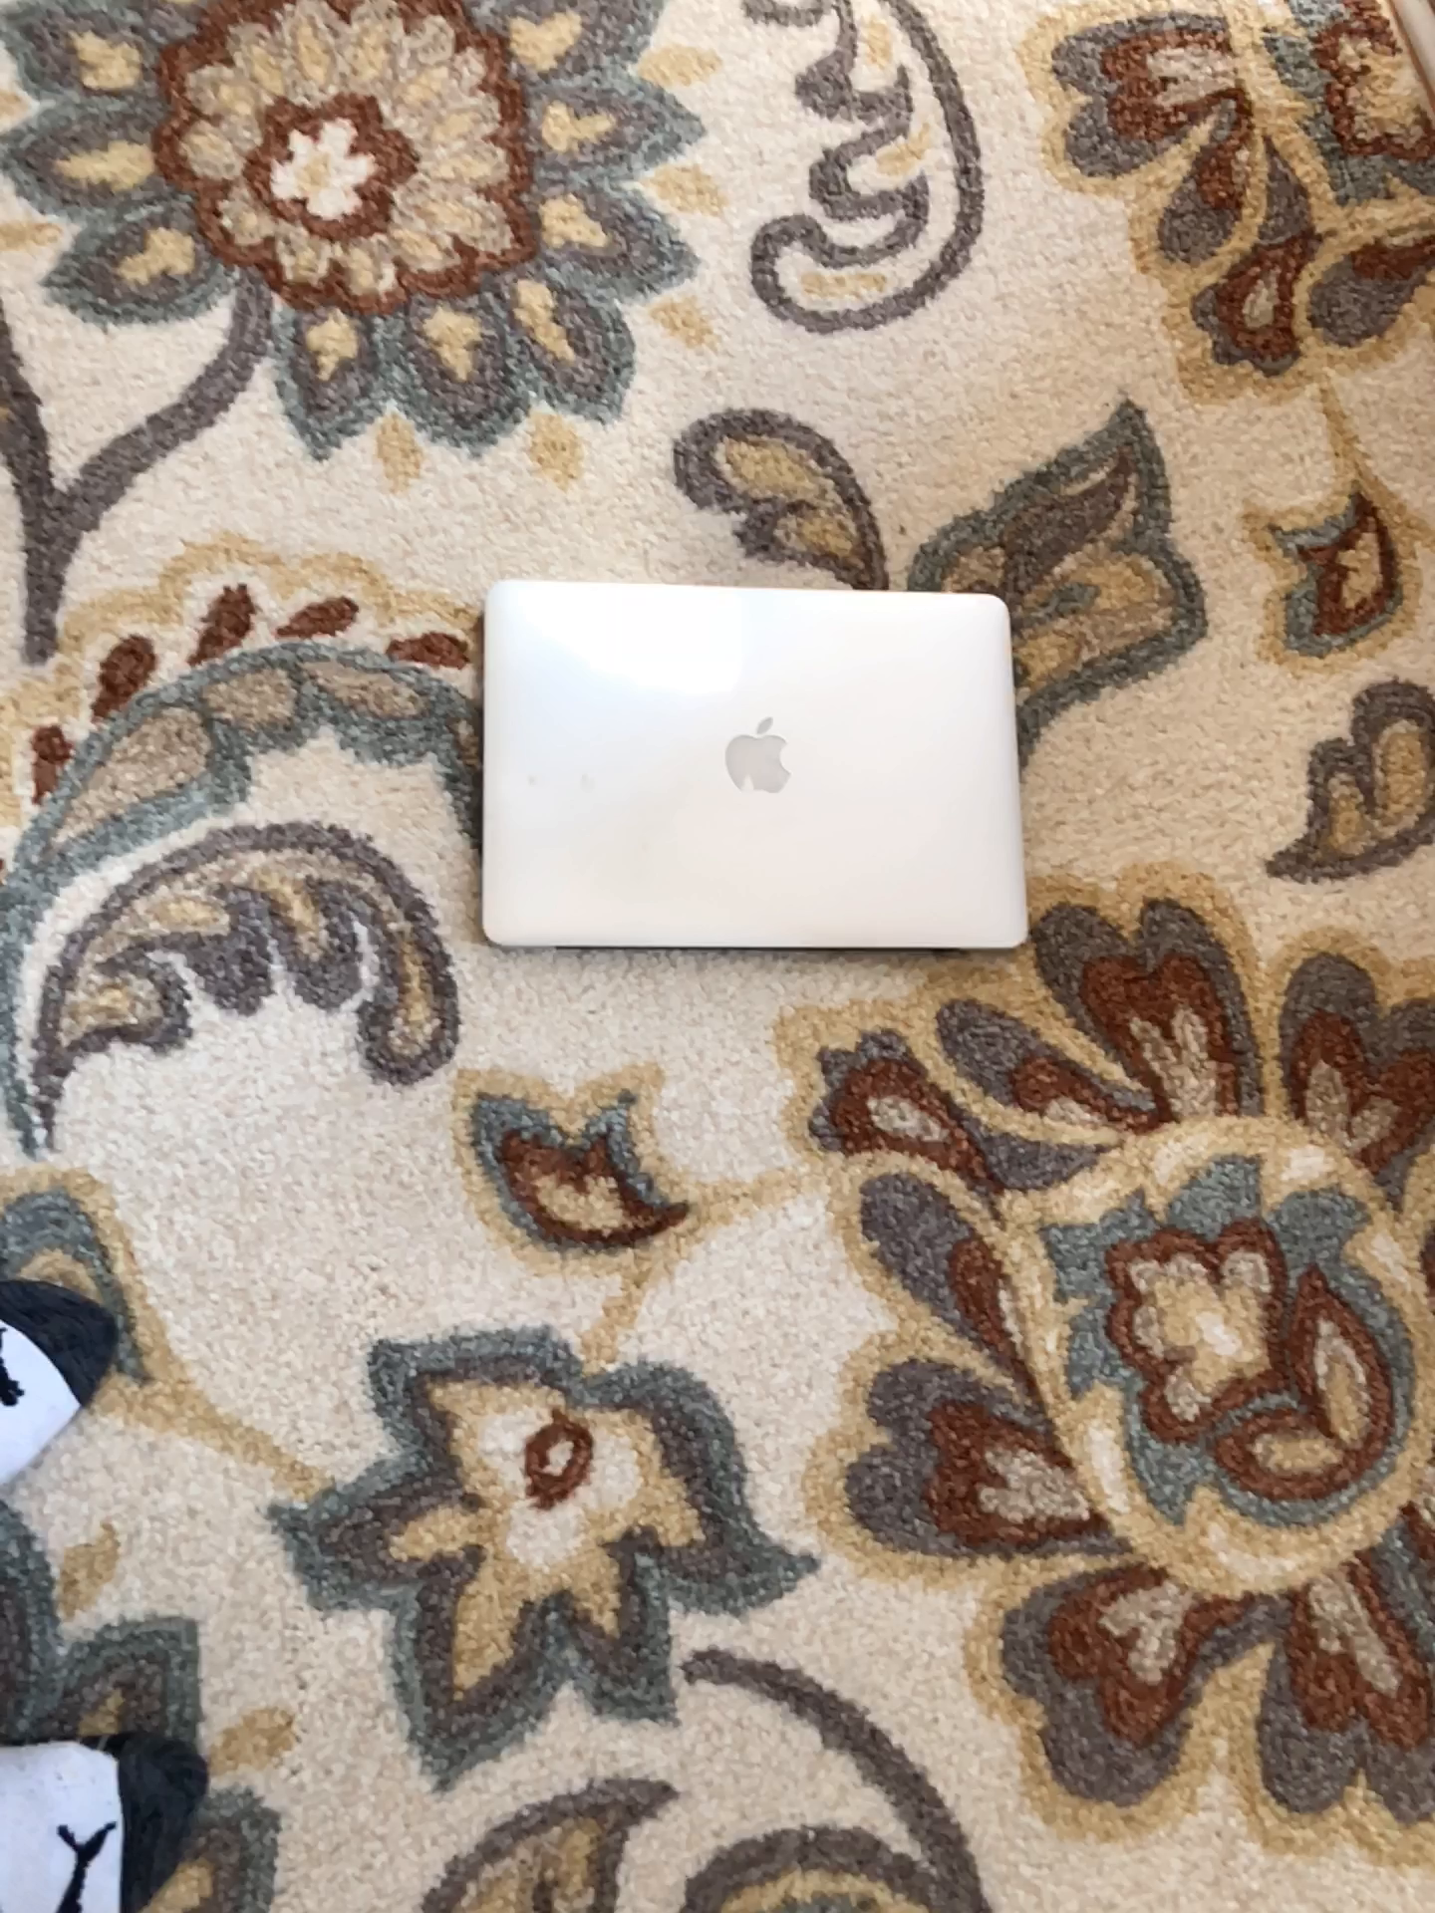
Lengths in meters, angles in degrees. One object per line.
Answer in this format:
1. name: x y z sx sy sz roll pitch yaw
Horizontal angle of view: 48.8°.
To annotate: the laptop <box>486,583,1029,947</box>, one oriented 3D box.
1. laptop: 0.021 -0.107 0.876 0.295 0.001 0.207 0 78 -5
